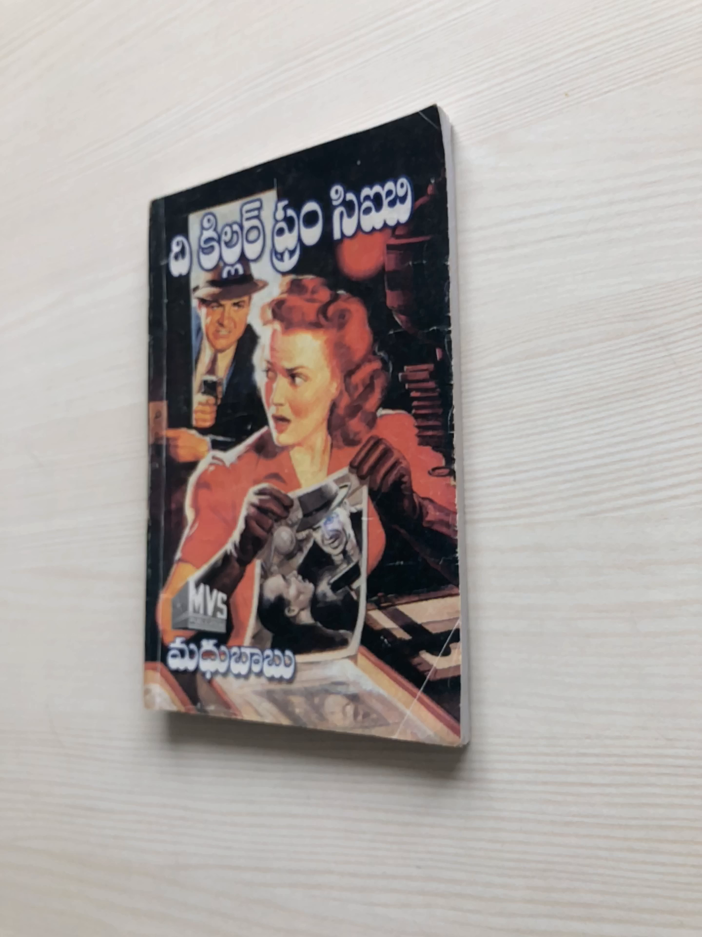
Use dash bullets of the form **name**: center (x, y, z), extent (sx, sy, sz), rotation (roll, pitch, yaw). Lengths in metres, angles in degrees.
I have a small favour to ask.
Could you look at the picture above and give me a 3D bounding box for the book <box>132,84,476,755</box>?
- **book**: center (-0.018, -0.012, 0.216), extent (0.100, 0.012, 0.160), rotation (-5, 82, 30)
